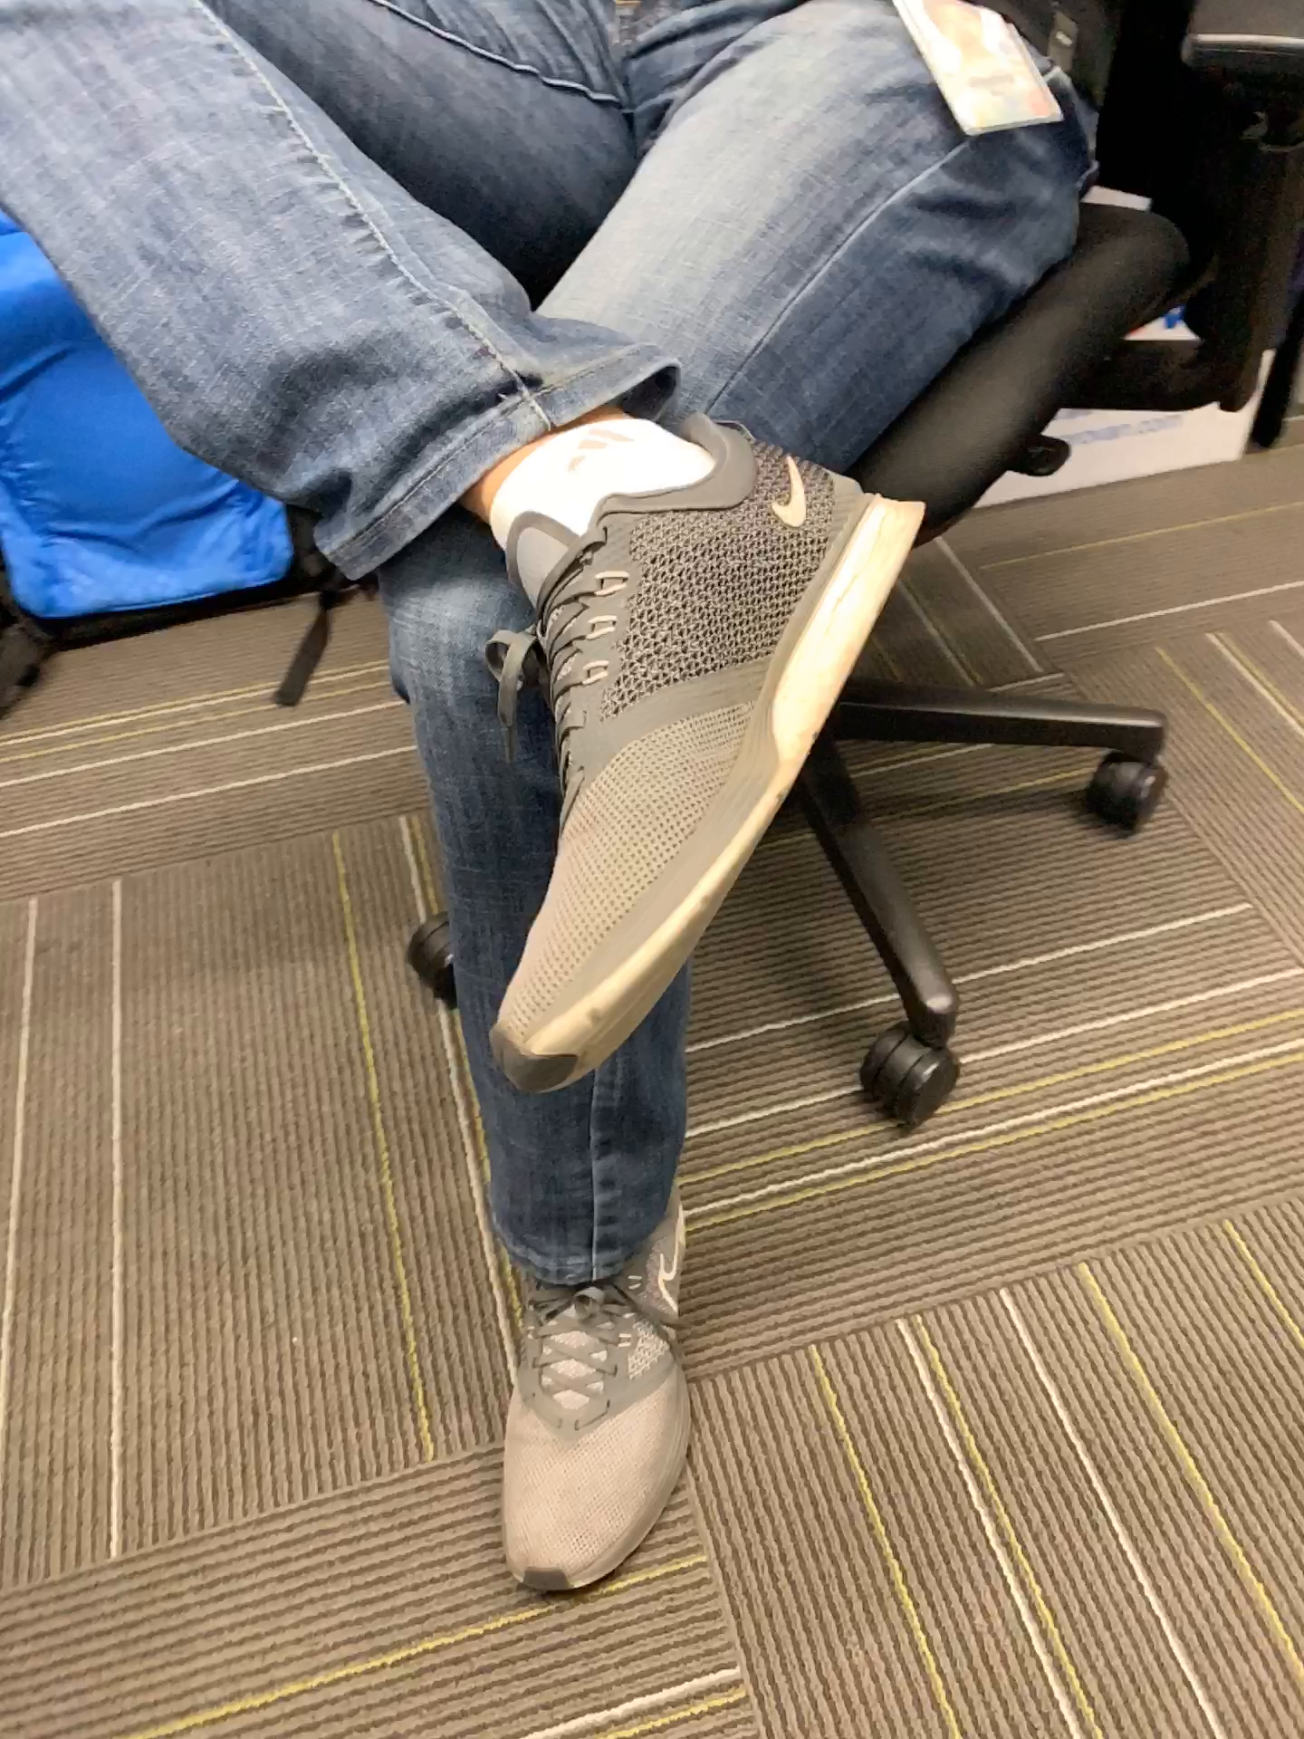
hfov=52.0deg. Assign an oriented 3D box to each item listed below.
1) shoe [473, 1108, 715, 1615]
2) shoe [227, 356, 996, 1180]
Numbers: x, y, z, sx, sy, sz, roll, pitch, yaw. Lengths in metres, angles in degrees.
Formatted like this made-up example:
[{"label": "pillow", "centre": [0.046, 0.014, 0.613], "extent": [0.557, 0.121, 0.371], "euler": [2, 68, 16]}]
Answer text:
[{"label": "shoe", "centre": [-0.027, 0.306, 0.868], "extent": [0.113, 0.092, 0.289], "euler": [2, 47, 6]}, {"label": "shoe", "centre": [0.005, -0.059, 0.499], "extent": [0.133, 0.120, 0.296], "euler": [22, 50, 18]}]
